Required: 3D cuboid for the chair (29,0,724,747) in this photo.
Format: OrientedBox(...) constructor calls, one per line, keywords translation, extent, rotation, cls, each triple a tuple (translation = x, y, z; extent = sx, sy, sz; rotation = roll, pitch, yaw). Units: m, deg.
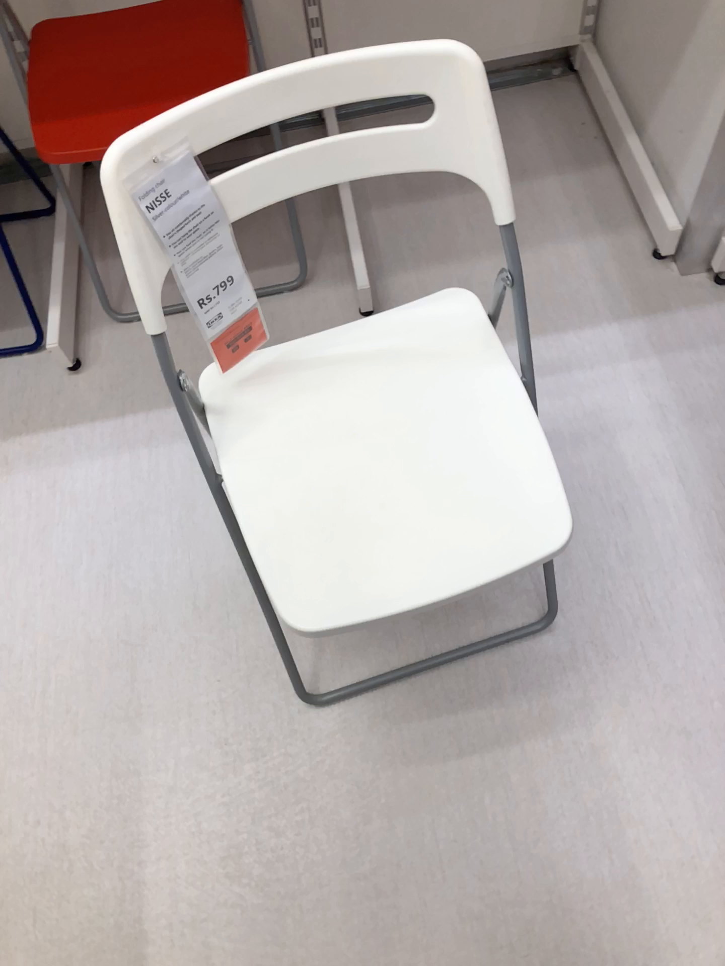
OrientedBox(translation=(0.010, -0.079, 0.995), extent=(0.500, 0.667, 0.542), rotation=(-18, 61, -4), cls="chair")
